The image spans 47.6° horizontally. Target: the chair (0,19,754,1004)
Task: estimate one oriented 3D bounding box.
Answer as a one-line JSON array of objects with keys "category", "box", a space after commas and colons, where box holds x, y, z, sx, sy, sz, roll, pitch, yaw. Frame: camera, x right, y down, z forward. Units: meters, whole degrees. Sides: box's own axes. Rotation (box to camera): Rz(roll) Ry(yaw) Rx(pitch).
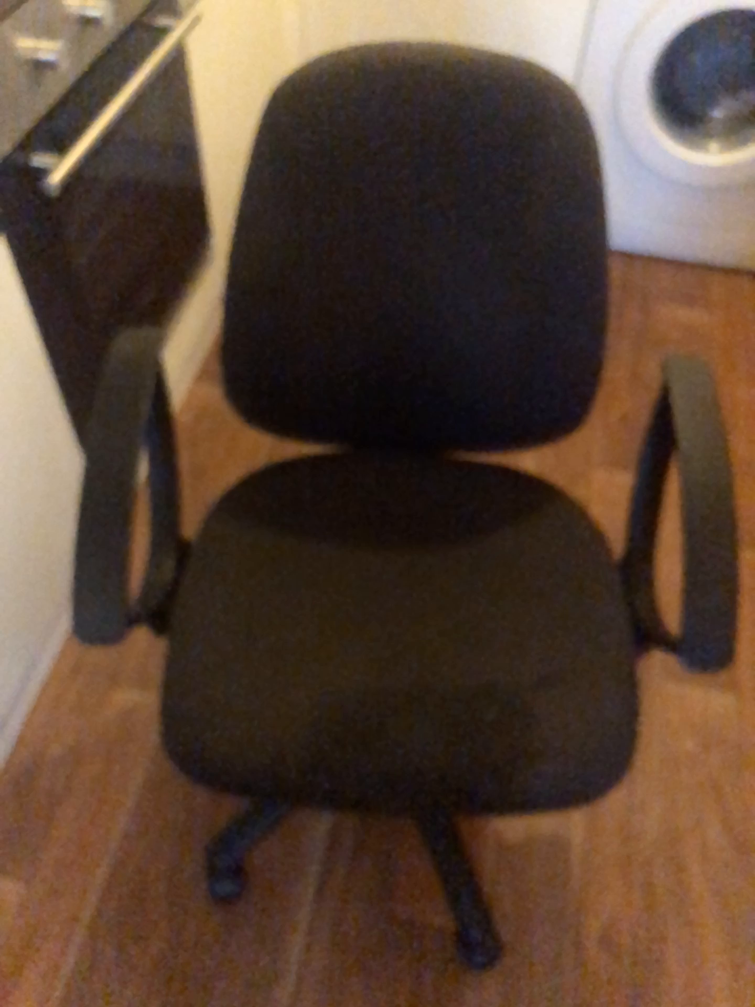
[{"category": "chair", "box": [0.033, 0.014, 1.049, 0.685, 0.756, 0.878, 4, 51, 1]}]
